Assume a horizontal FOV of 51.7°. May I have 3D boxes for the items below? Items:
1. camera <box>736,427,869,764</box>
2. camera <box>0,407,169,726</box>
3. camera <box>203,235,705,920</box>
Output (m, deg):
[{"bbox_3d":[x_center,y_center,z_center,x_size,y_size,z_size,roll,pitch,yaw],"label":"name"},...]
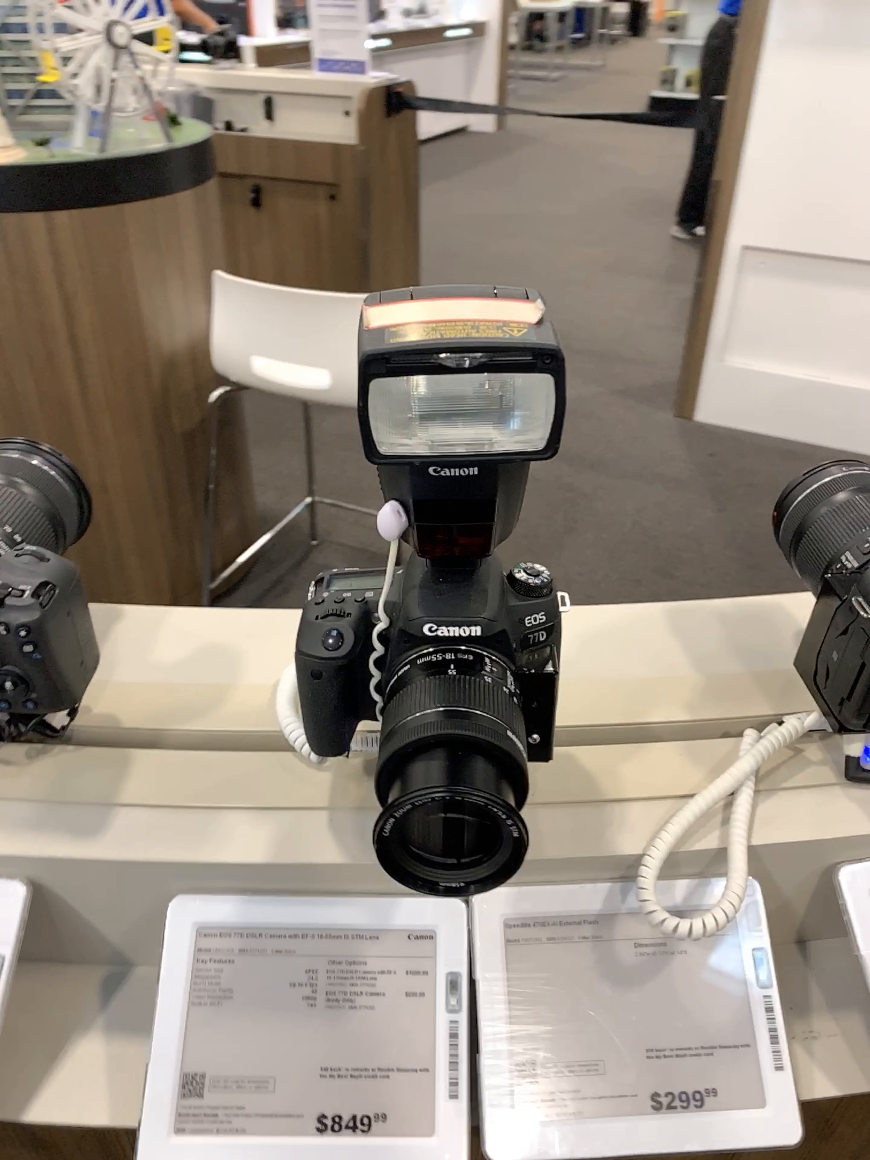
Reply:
[{"bbox_3d":[0.270,0.001,0.487,0.140,0.103,0.166,0,35,-3],"label":"camera"},{"bbox_3d":[-0.253,-0.015,0.517,0.140,0.103,0.166,2,35,1],"label":"camera"},{"bbox_3d":[0.004,-0.003,0.388,0.140,0.232,0.177,2,35,0],"label":"camera"}]
